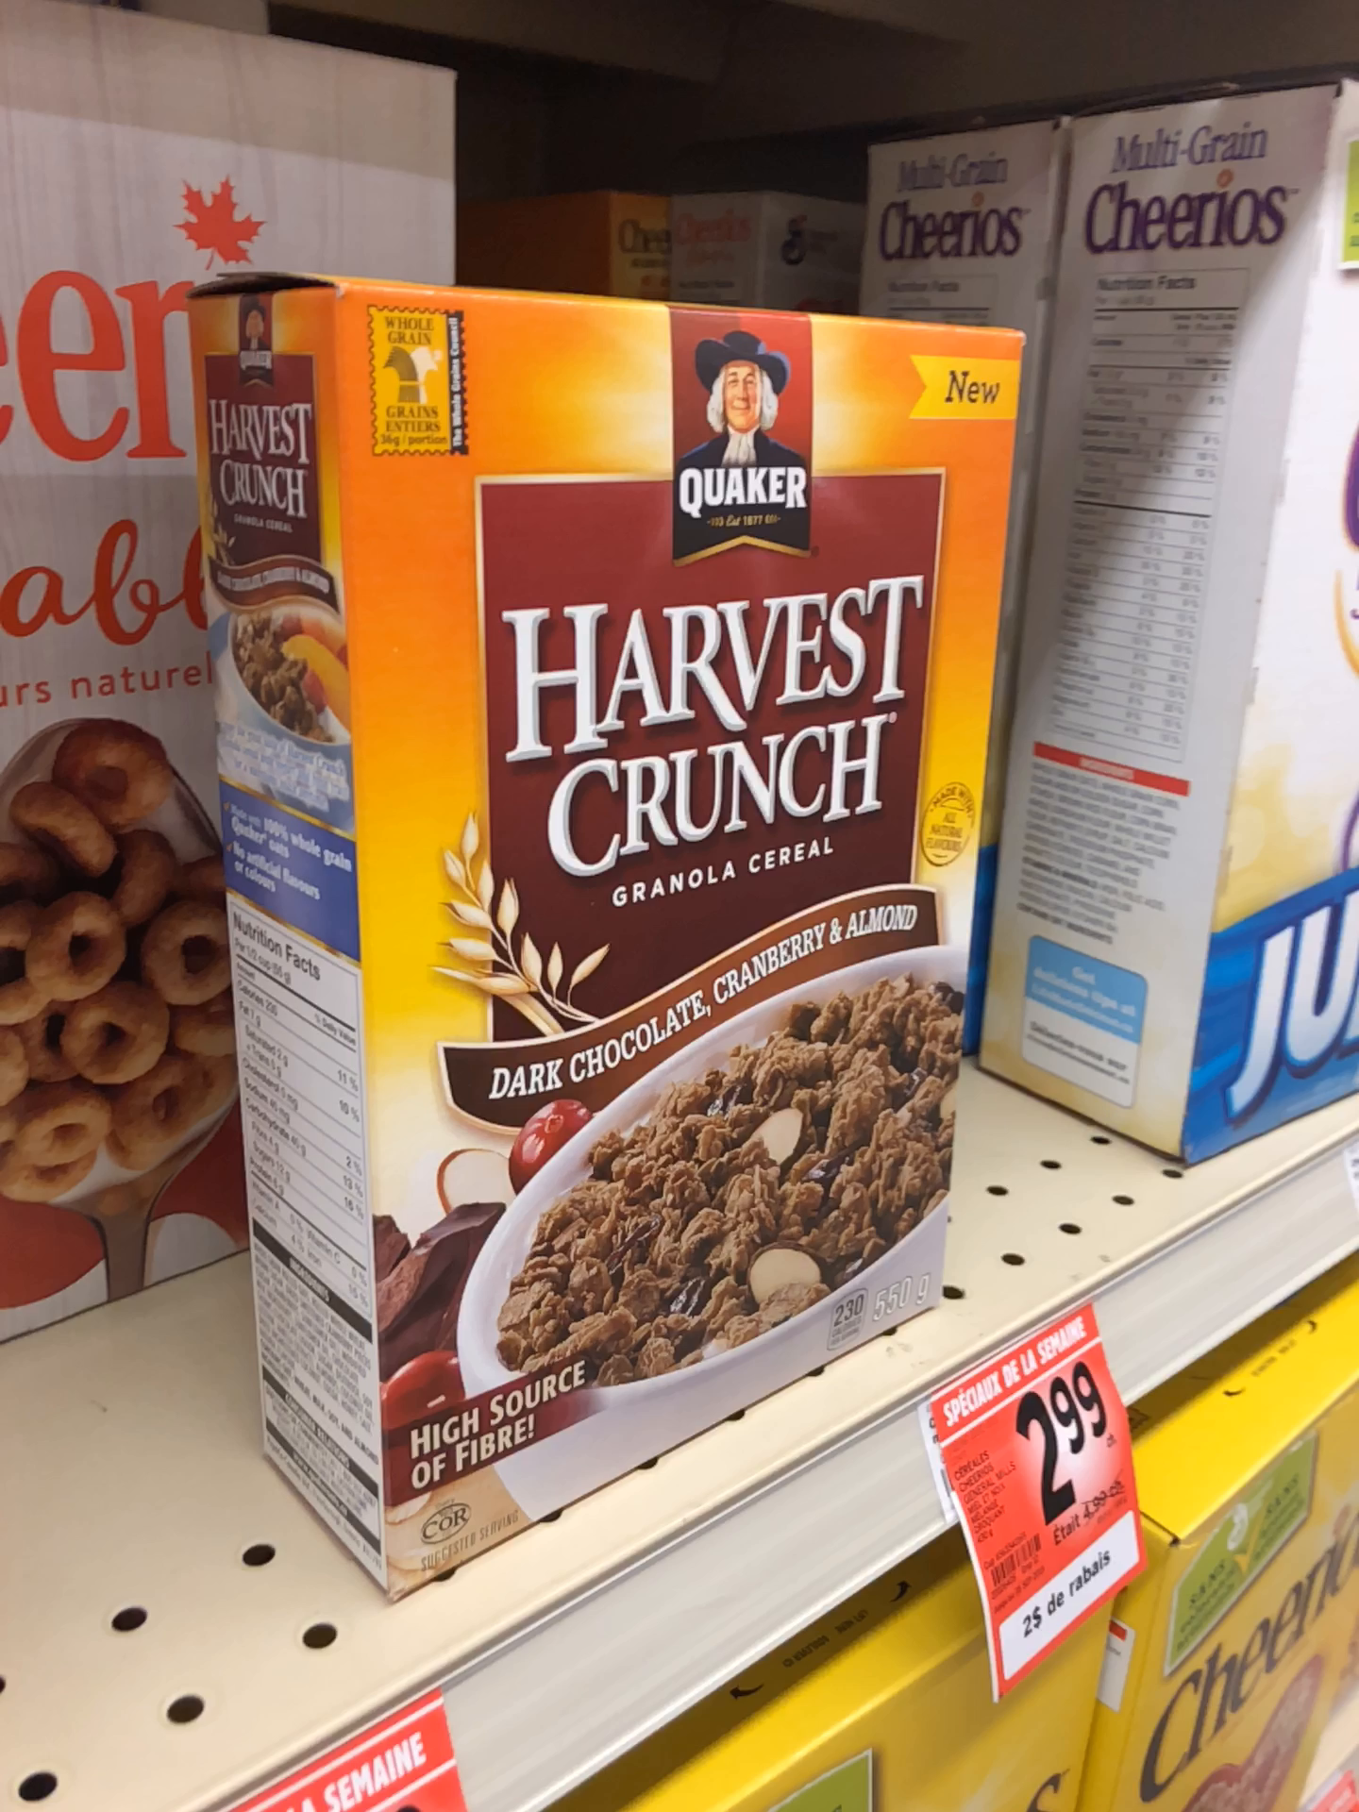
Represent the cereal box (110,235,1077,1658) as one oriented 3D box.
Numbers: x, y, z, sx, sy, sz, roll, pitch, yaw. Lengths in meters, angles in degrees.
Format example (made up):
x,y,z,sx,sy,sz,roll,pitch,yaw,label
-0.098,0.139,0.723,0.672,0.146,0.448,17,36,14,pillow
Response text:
x,y,z,sx,sy,sz,roll,pitch,yaw,label
-0.010,0.000,0.309,0.170,0.239,0.060,-14,25,-37,cereal box
